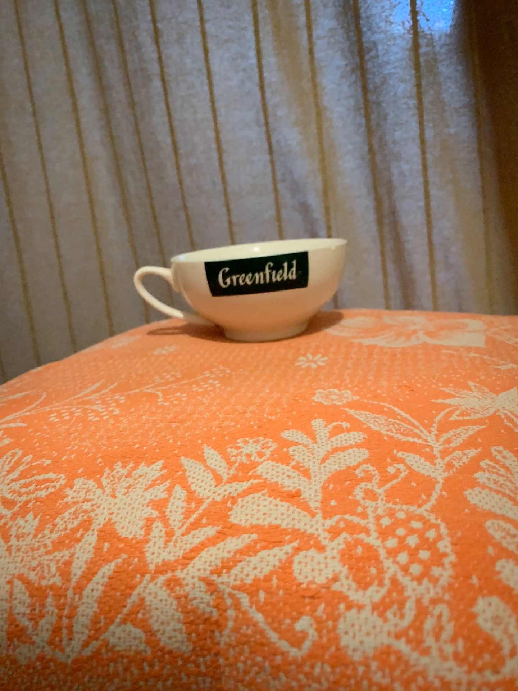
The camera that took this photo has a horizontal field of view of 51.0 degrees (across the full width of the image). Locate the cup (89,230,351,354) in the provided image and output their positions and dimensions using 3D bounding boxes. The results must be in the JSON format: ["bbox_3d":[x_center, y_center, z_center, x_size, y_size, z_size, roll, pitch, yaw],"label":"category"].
[{"bbox_3d":[-0.016,-0.039,0.343,0.136,0.056,0.115,-2,14,5],"label":"cup"}]
